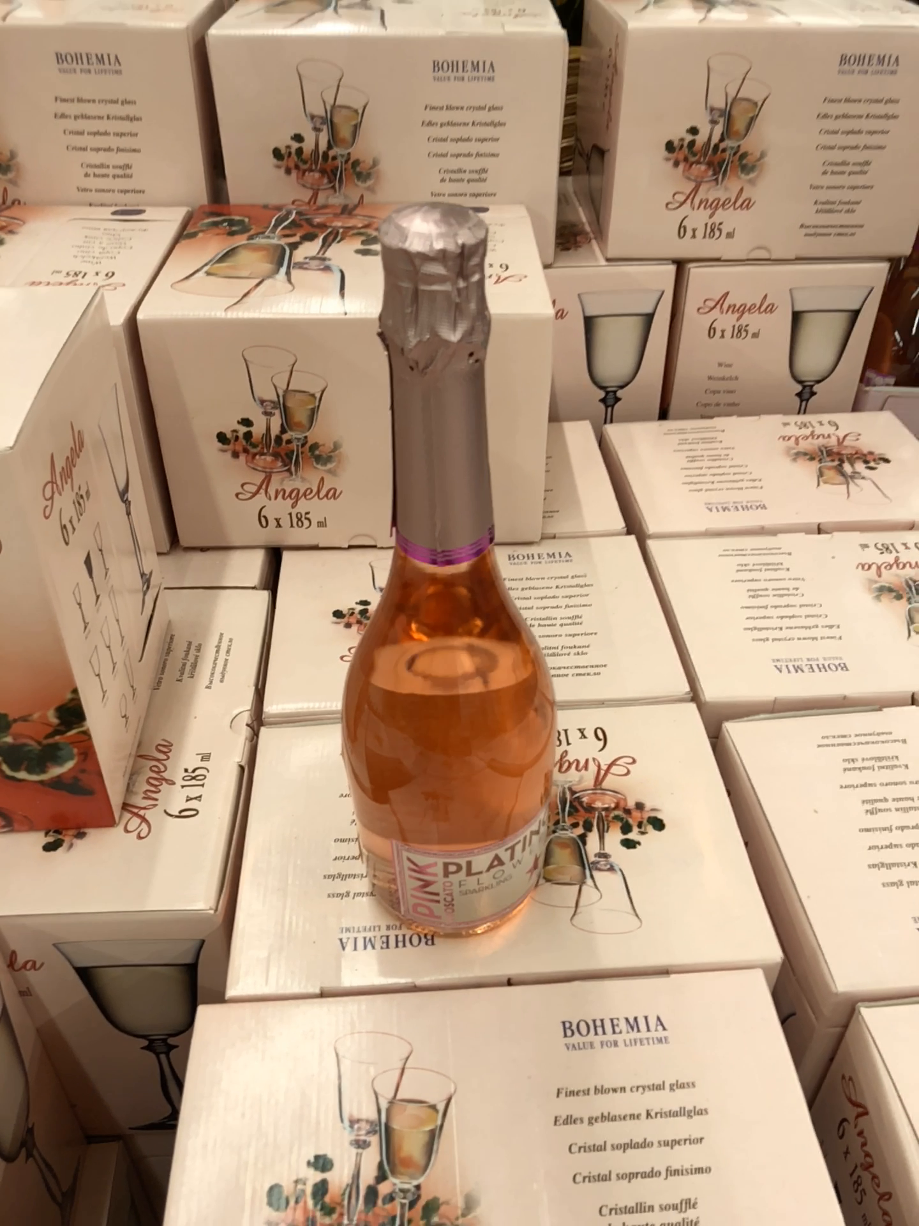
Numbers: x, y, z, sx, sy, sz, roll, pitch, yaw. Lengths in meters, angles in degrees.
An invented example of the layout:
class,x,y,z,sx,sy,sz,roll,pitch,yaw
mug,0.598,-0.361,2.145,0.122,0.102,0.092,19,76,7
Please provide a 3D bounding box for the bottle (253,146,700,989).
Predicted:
class,x,y,z,sx,sy,sz,roll,pitch,yaw
bottle,-0.001,0.001,0.392,0.100,0.308,0.100,1,38,0
